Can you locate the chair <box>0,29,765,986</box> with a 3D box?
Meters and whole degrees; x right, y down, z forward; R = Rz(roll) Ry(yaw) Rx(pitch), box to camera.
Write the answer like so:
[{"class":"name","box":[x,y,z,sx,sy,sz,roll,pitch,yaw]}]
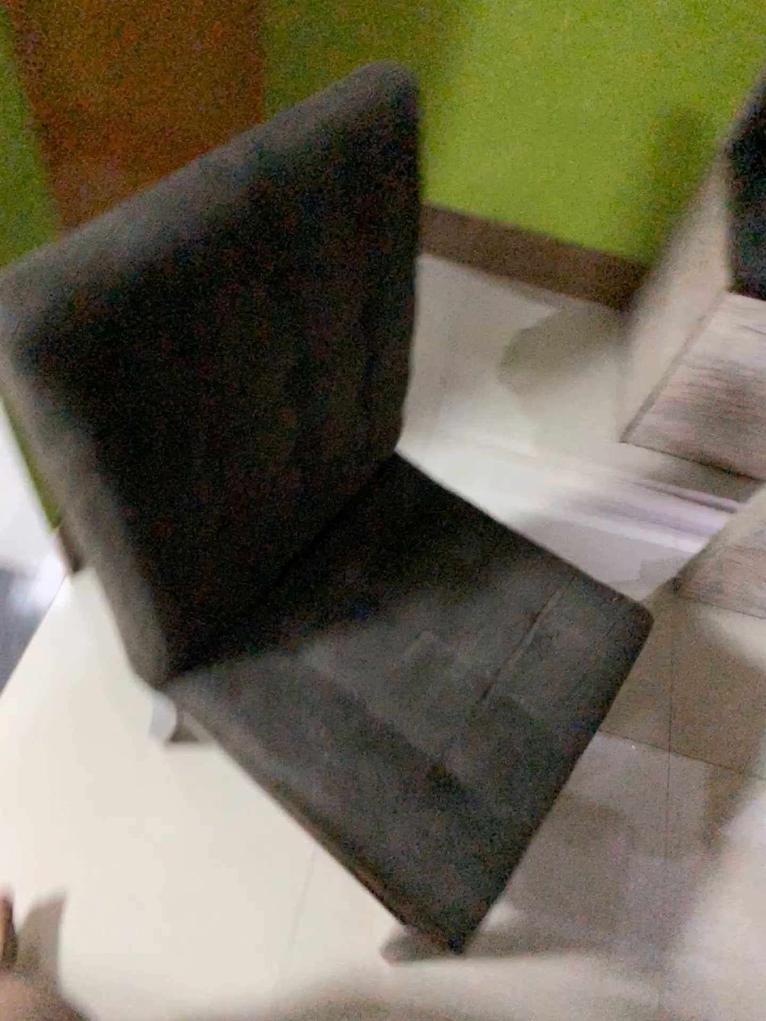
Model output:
[{"class":"chair","box":[0.017,0.121,0.958,0.571,0.973,0.543,35,58,13]}]
